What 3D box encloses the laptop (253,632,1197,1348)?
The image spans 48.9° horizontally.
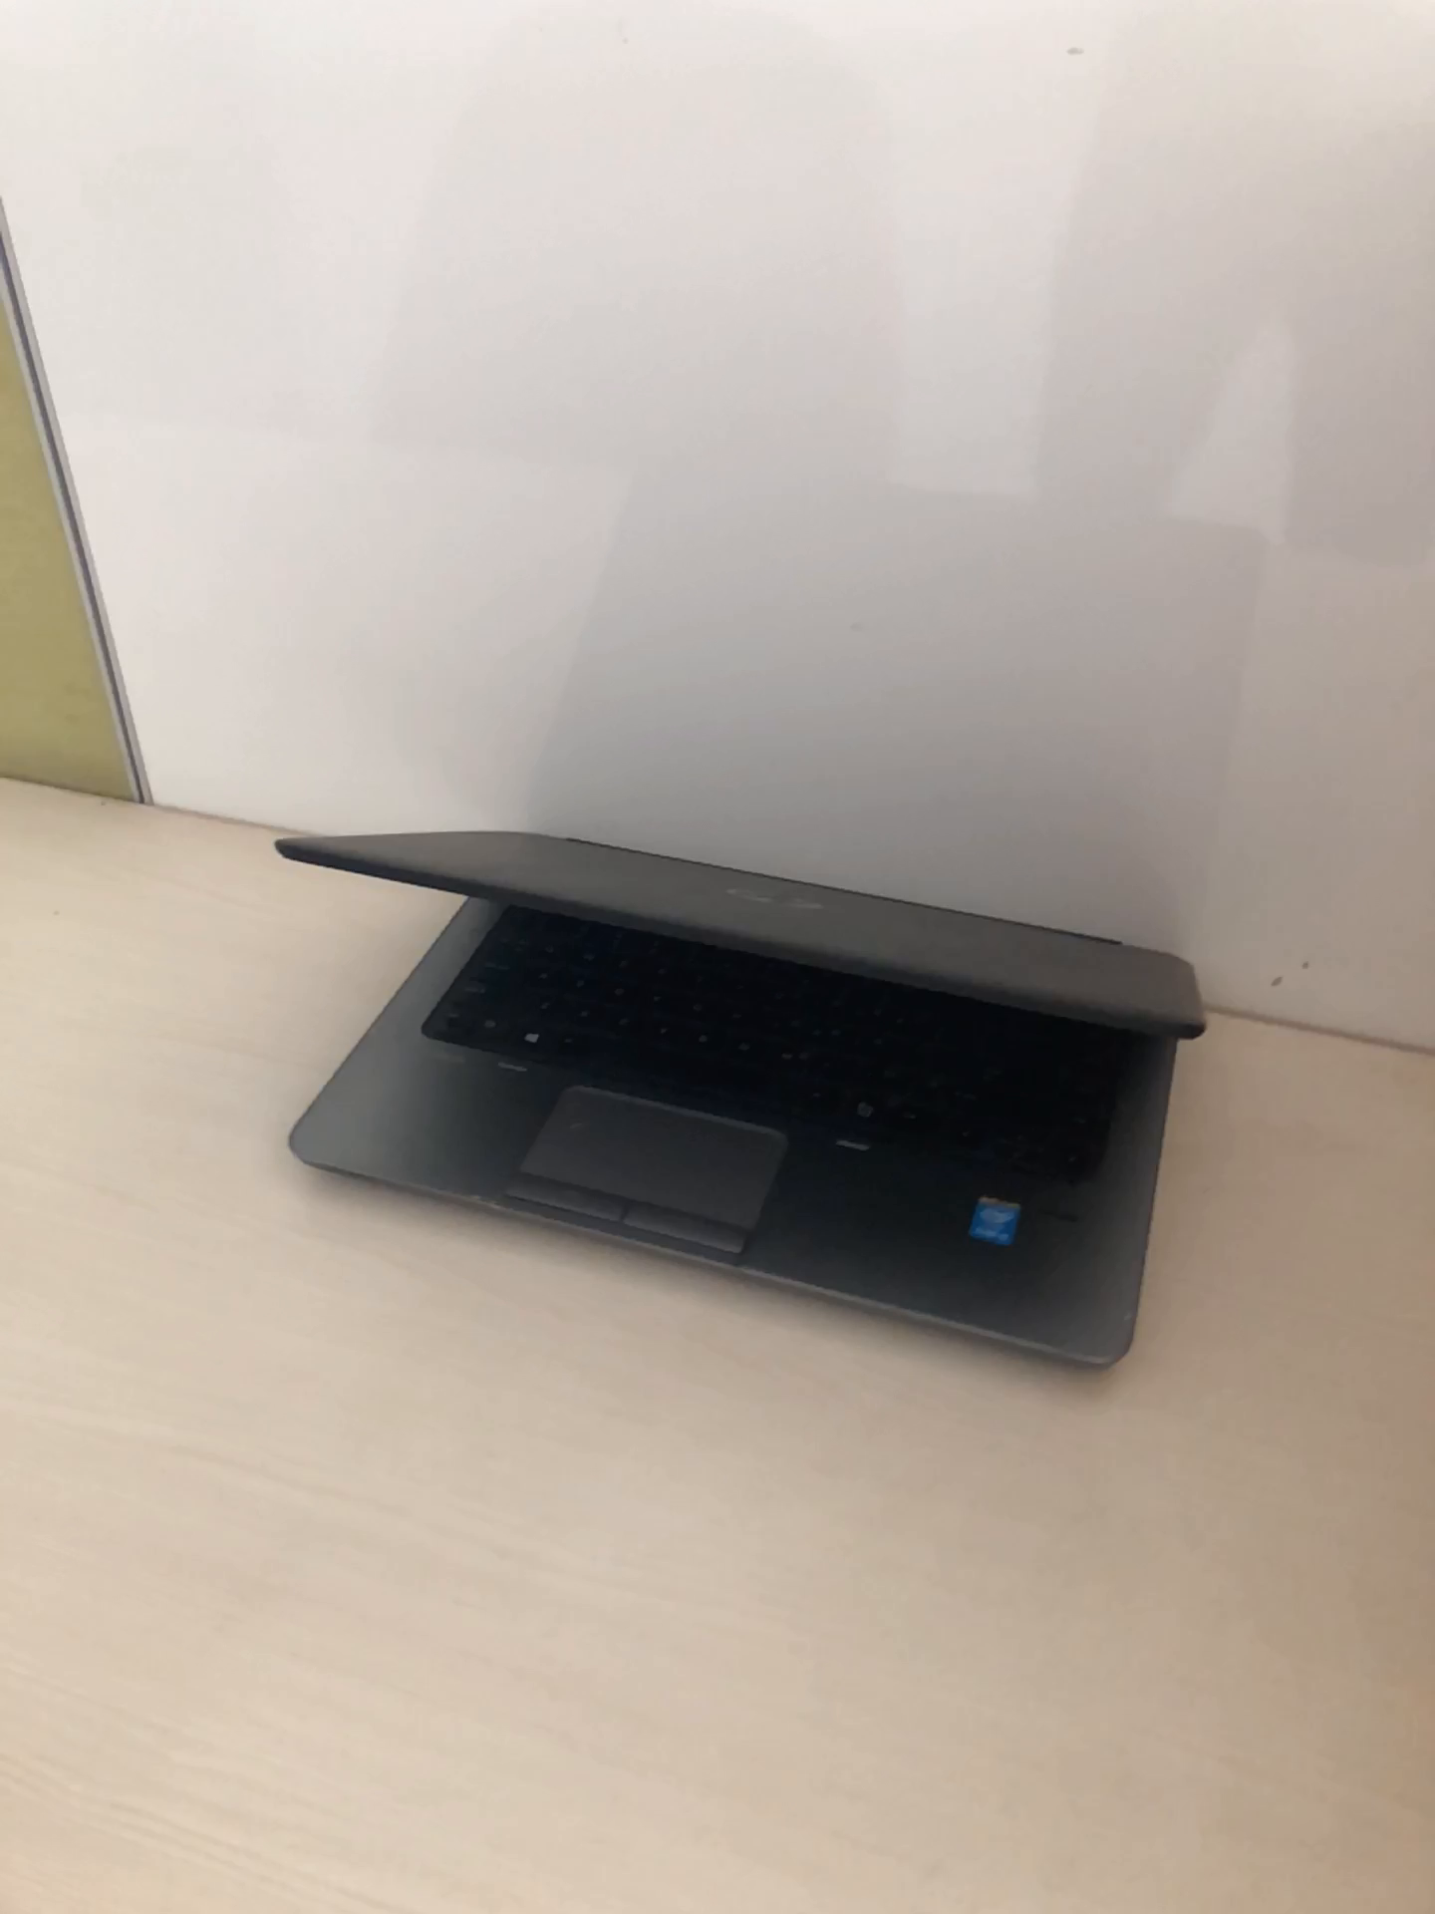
[{"bbox_3d":[0.016,-0.004,0.658,0.320,0.118,0.221,12,41,13],"label":"laptop"}]
